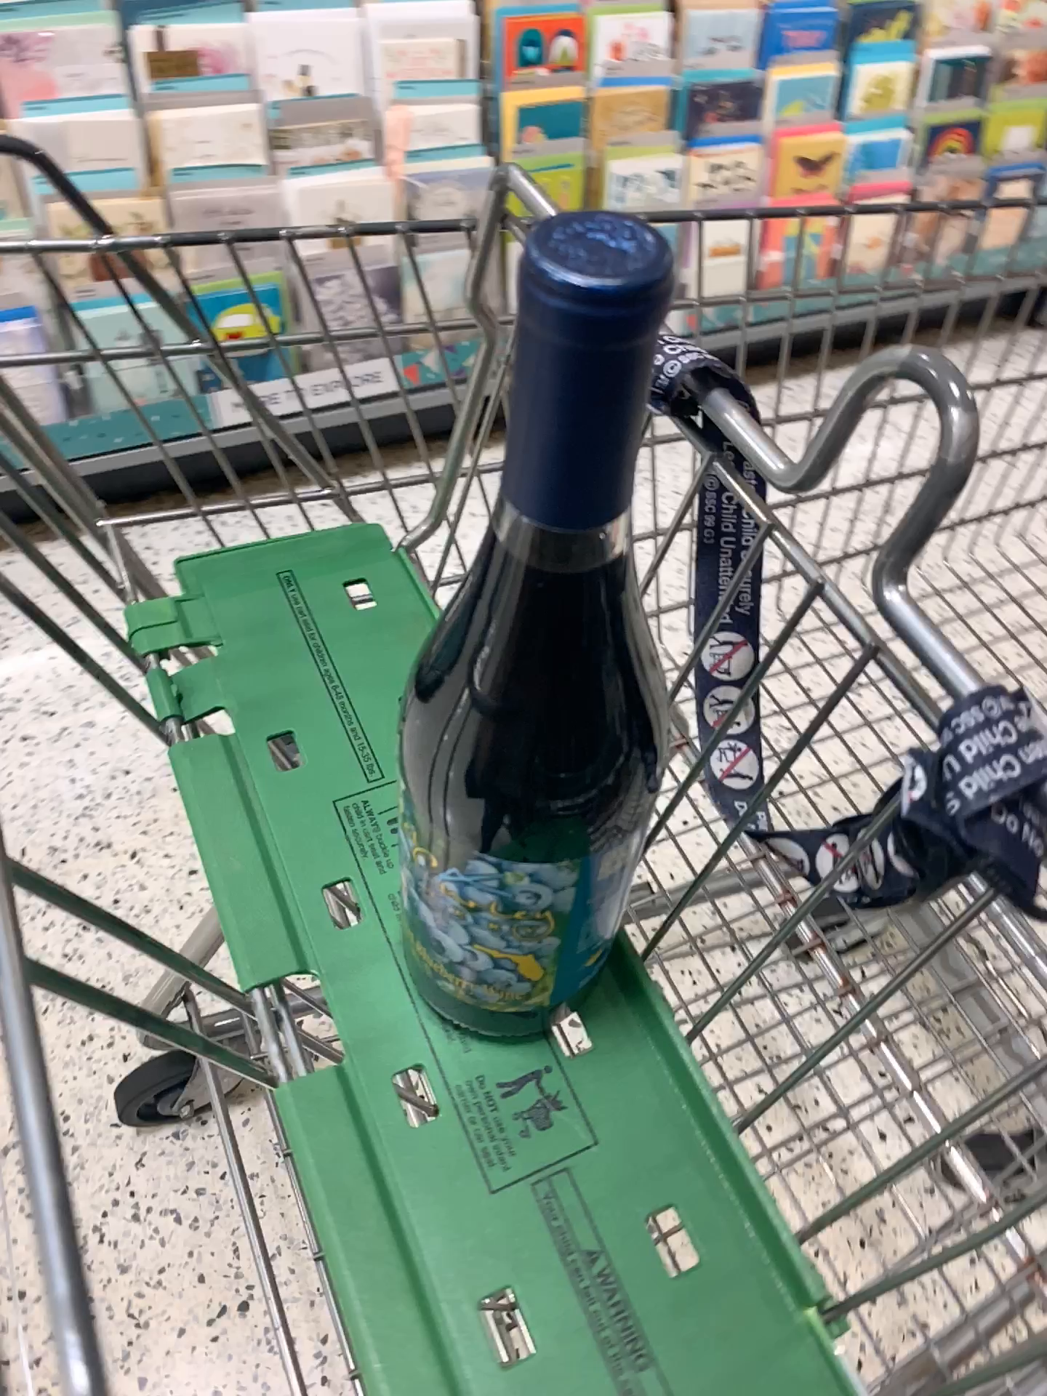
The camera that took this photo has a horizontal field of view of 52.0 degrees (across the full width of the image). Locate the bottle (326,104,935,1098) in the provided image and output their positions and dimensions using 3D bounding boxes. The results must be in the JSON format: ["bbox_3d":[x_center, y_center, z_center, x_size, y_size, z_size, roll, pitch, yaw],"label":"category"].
[{"bbox_3d":[0.007,0.008,0.301,0.075,0.286,0.080,3,51,-4],"label":"bottle"}]
